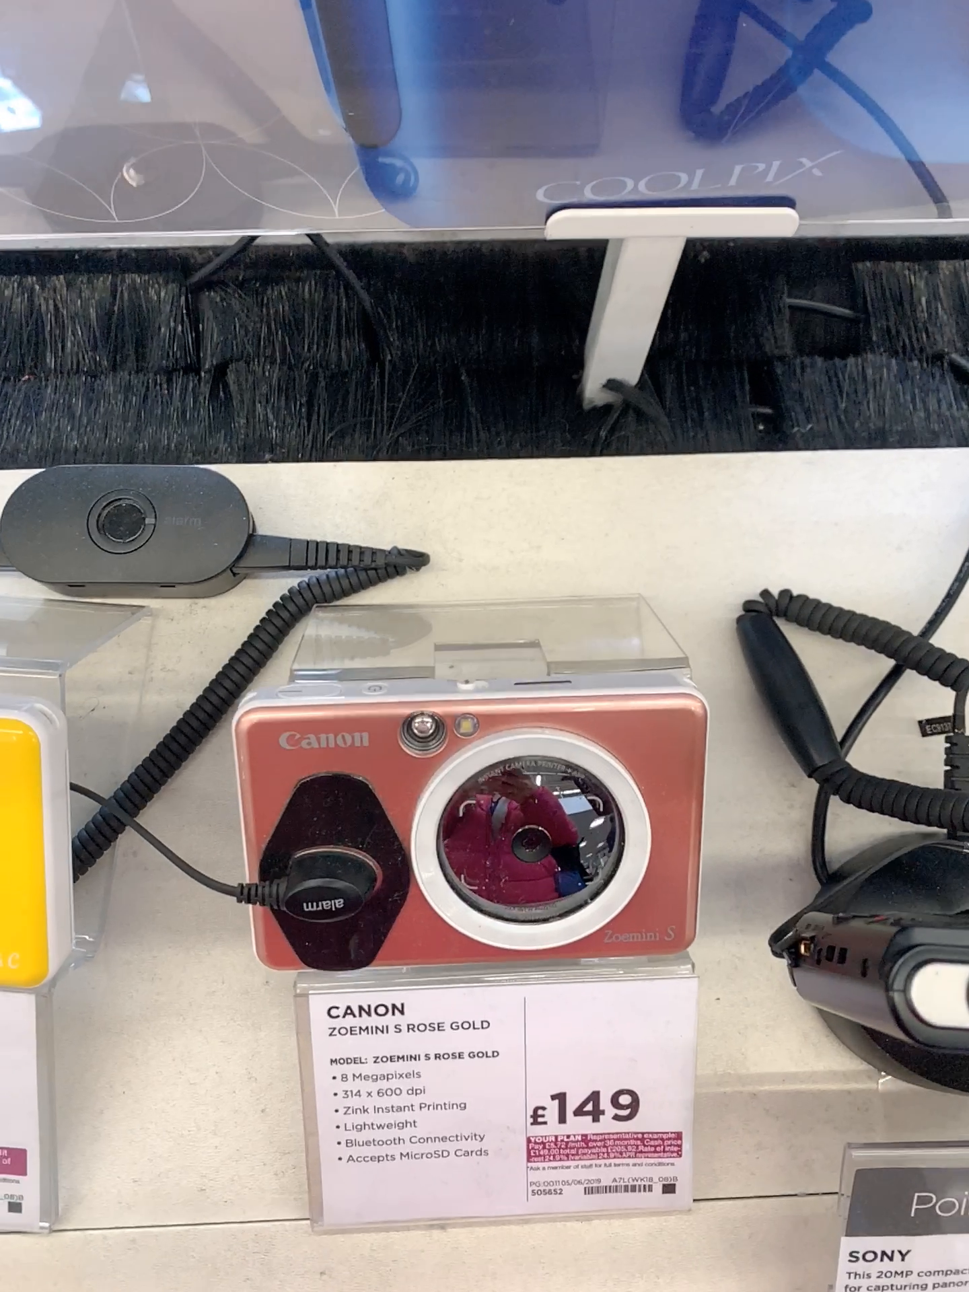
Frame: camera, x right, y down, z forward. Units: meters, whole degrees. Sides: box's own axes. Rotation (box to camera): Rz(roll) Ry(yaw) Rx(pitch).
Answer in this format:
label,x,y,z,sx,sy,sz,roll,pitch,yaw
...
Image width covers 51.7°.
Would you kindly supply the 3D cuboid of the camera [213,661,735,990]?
label,x,y,z,sx,sy,sz,roll,pitch,yaw
camera,-0.002,0.048,0.268,0.129,0.020,0.083,-1,107,-2
